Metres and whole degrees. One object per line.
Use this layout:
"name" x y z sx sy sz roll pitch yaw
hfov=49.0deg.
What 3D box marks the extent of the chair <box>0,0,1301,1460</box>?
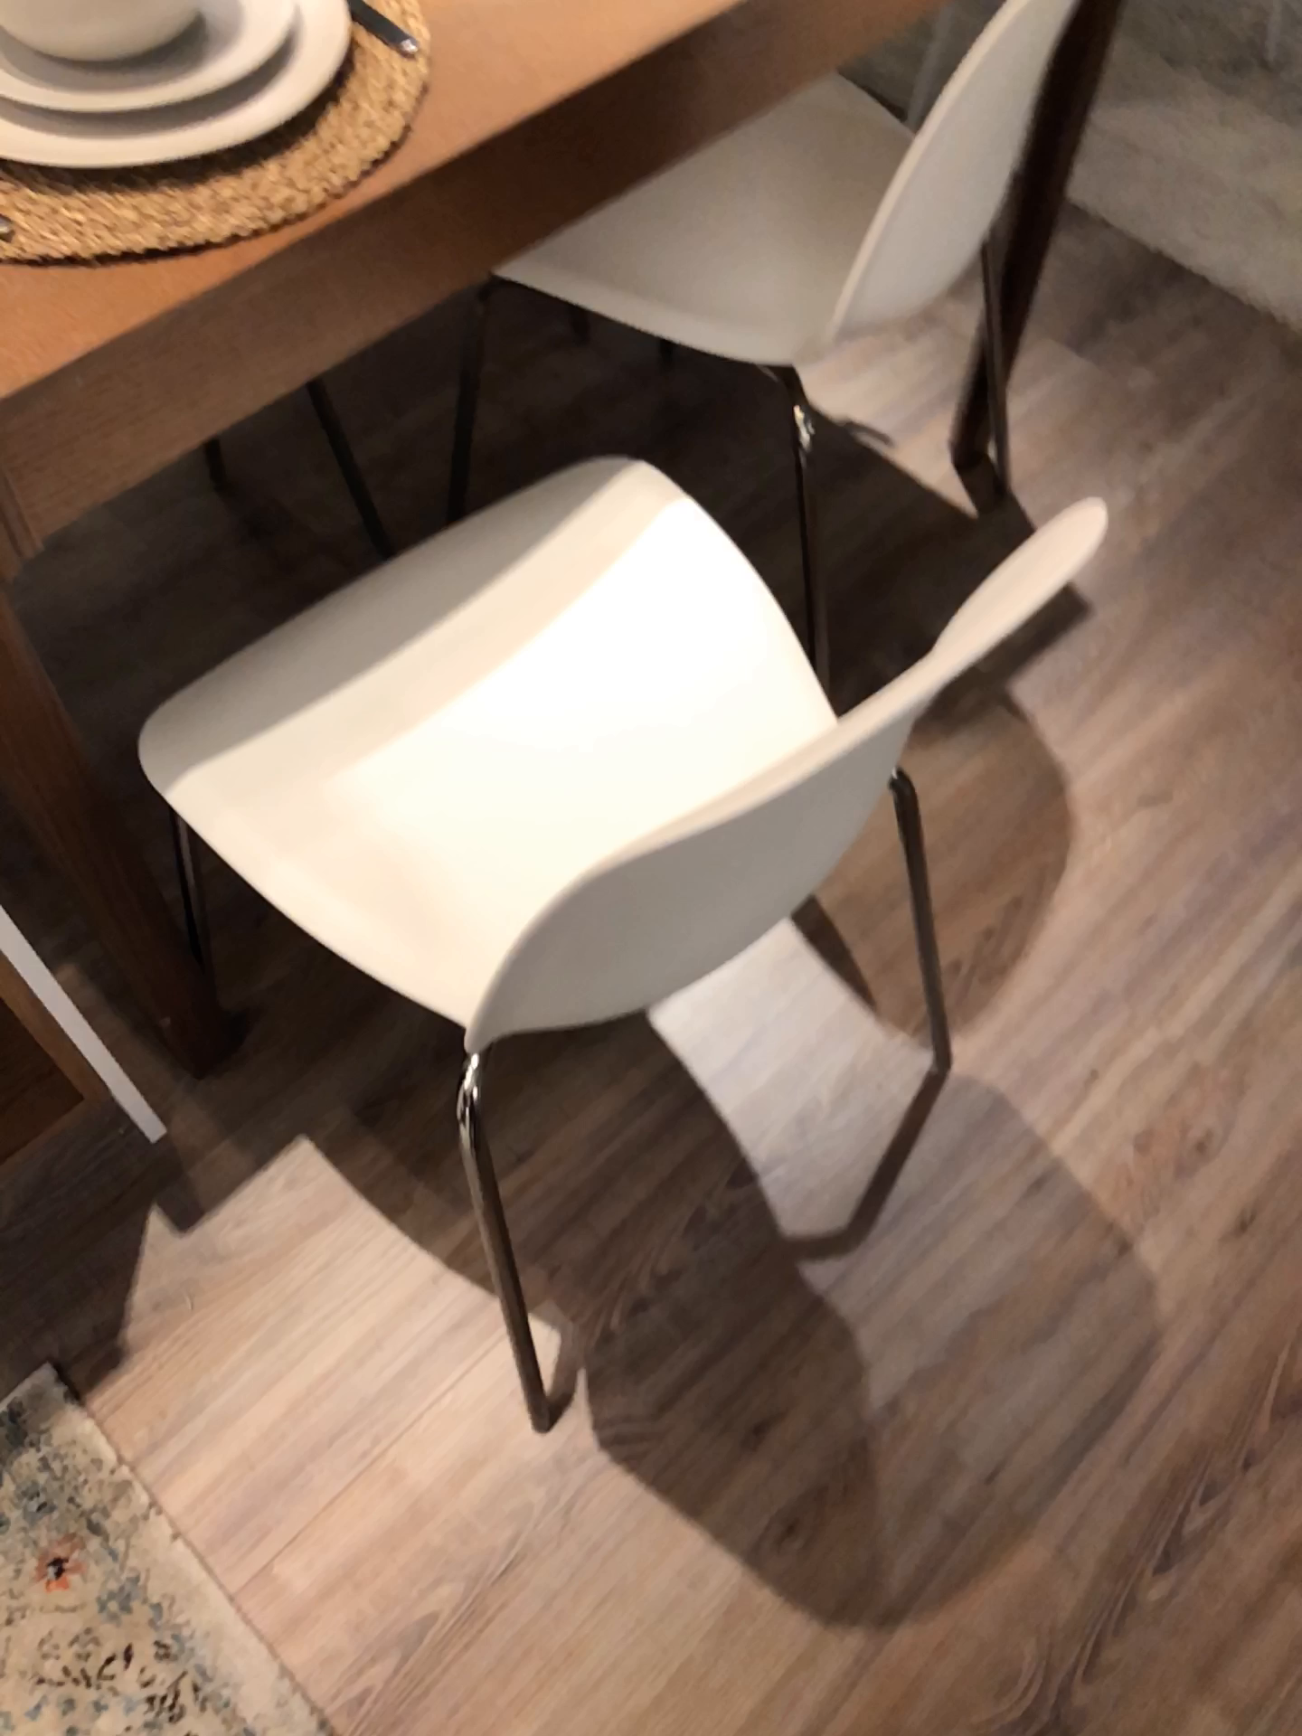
"chair" -0.053 -0.055 0.986 0.541 0.707 0.532 -36 67 -21
